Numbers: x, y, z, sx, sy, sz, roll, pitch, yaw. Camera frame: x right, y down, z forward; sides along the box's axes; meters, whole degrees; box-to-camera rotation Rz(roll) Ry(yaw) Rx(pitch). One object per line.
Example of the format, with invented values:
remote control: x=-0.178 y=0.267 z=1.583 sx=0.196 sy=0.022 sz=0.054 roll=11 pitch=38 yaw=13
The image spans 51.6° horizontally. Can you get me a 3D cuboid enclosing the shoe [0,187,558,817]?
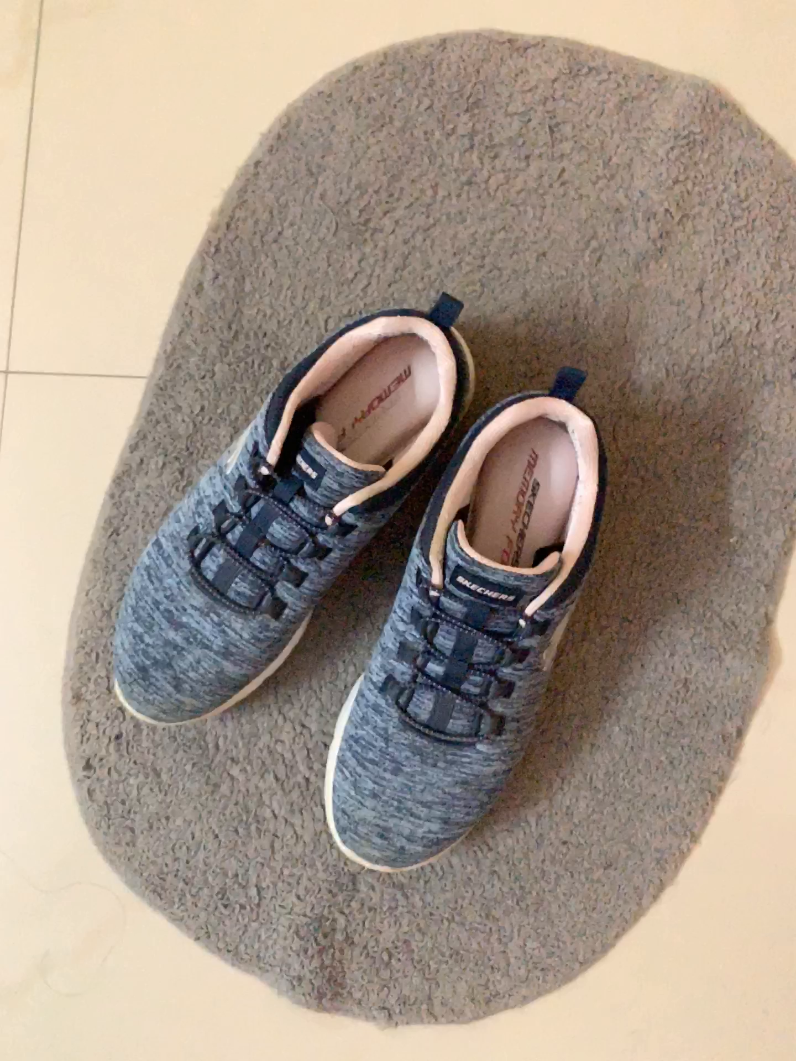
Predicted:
shoe: x=-0.051 y=-0.013 z=0.394 sx=0.090 sy=0.100 sz=0.270 roll=39 pitch=84 yaw=3

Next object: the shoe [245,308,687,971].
shoe: x=0.037 y=0.049 z=0.433 sx=0.100 sy=0.100 sz=0.290 roll=23 pitch=83 yaw=5
